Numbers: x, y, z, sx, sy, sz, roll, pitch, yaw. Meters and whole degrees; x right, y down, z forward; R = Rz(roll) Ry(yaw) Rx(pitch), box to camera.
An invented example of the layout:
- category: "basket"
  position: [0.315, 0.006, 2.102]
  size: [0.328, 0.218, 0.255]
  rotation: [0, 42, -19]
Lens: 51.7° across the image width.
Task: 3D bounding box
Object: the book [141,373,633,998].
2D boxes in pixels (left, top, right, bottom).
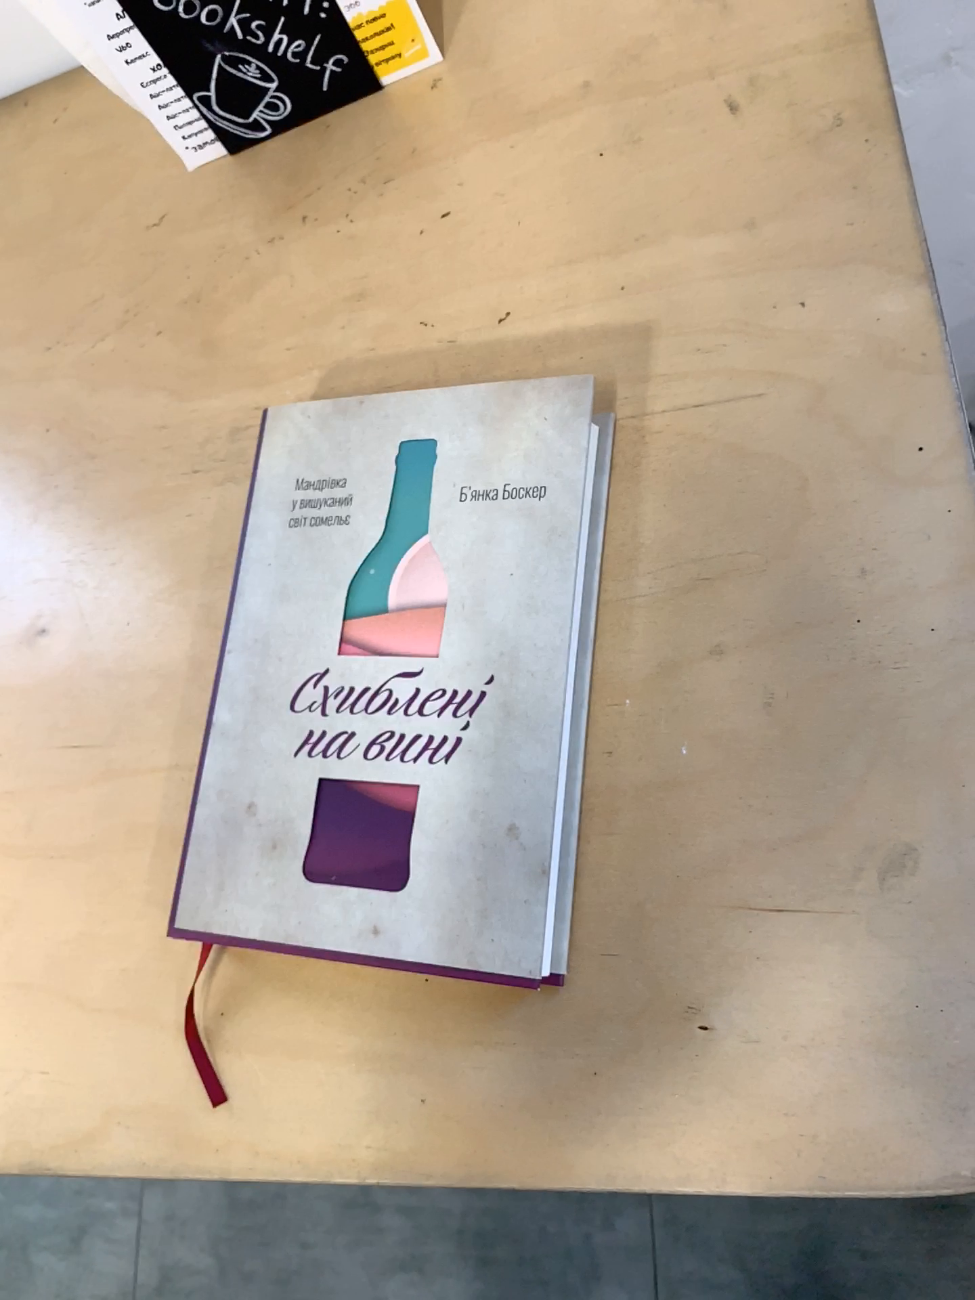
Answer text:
- category: "book"
  position: [-0.033, 0.009, 0.382]
  size: [0.150, 0.050, 0.214]
  rotation: [1, 74, 22]
